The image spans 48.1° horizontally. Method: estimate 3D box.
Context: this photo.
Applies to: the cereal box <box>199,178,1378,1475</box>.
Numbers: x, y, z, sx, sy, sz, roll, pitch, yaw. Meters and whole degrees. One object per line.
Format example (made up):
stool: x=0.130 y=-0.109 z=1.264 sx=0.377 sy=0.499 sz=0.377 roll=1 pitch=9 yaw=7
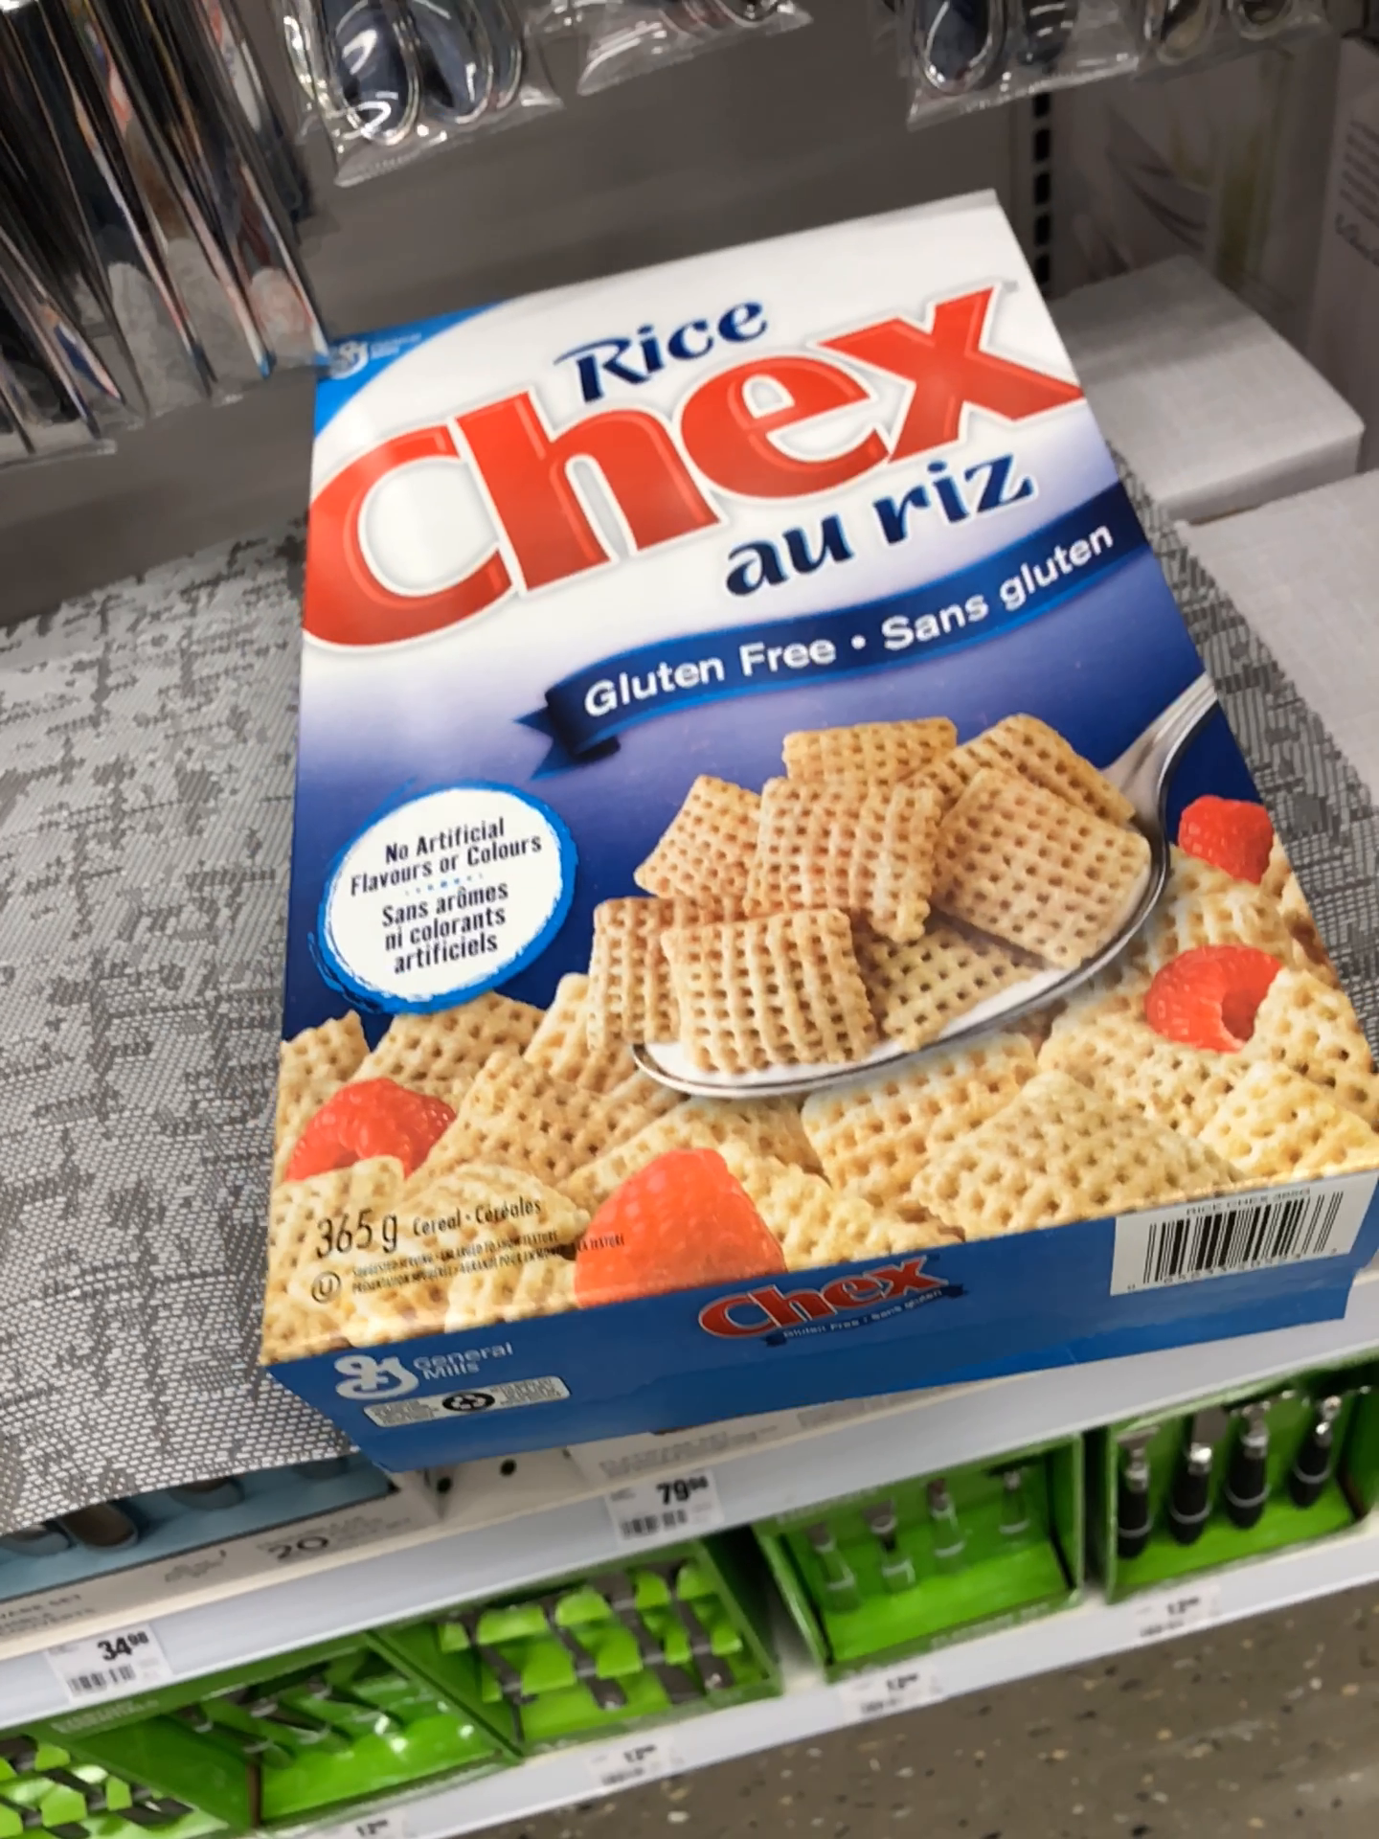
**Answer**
cereal box: x=0.012 y=-0.046 z=0.366 sx=0.210 sy=0.070 sz=0.301 roll=-10 pitch=53 yaw=3
